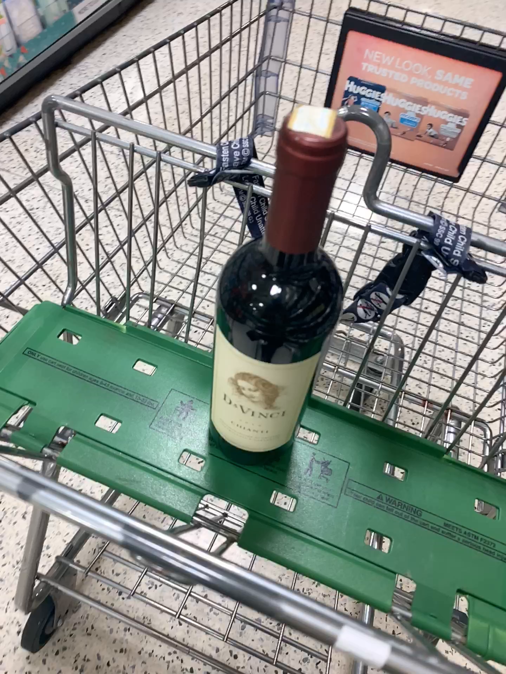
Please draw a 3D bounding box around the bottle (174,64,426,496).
[{"bbox_3d":[0.011,-0.001,0.309,0.080,0.268,0.081,3,54,-4],"label":"bottle"}]
